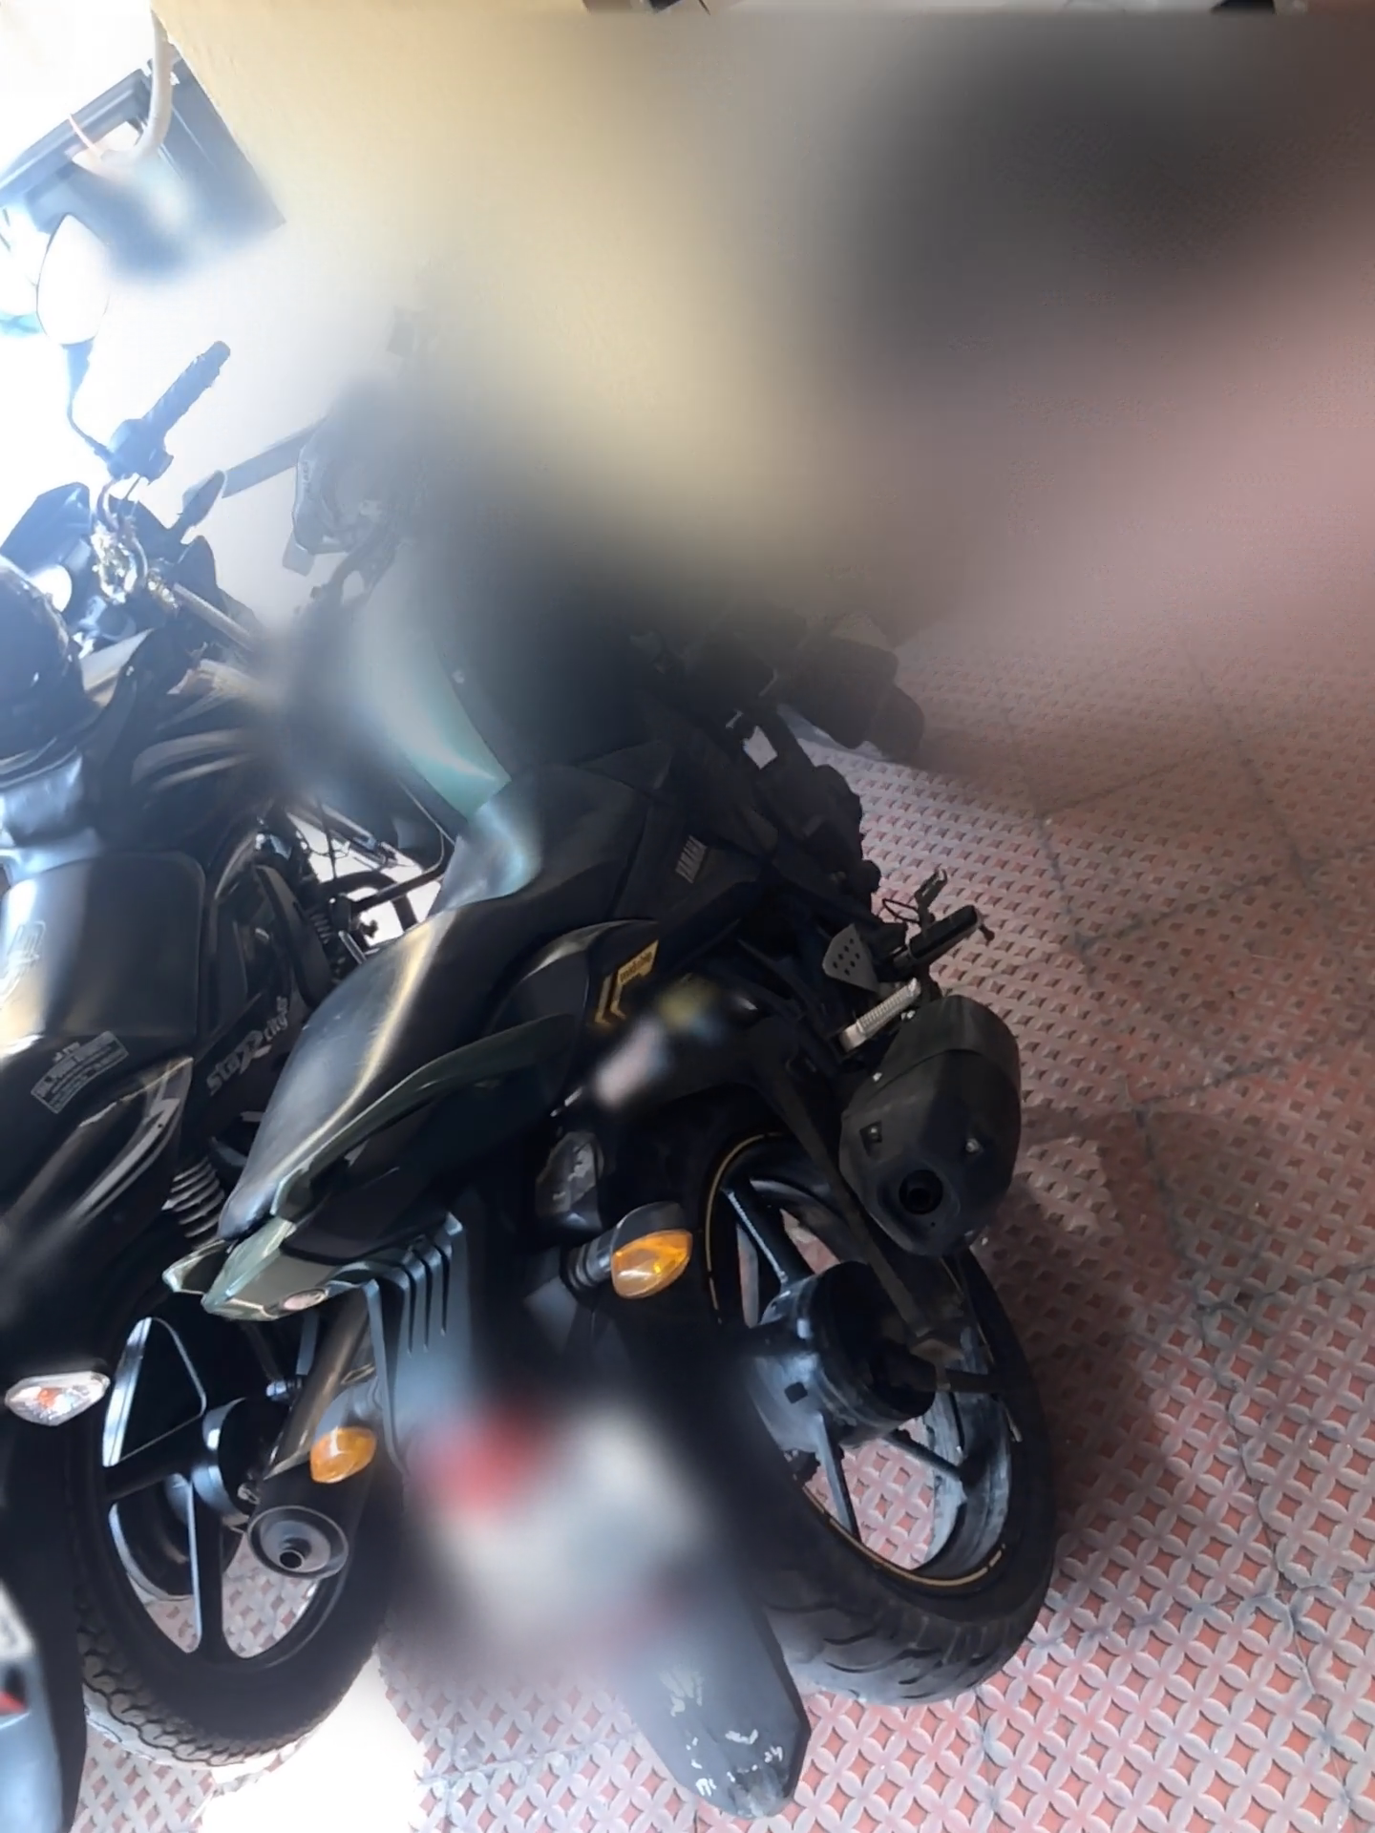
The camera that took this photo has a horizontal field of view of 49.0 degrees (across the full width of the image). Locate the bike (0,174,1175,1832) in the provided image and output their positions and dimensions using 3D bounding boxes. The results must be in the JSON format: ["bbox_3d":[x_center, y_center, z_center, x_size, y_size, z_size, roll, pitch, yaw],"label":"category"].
[{"bbox_3d":[-0.236,-0.045,1.815,0.738,1.090,1.818,-25,33,12],"label":"bike"}]
